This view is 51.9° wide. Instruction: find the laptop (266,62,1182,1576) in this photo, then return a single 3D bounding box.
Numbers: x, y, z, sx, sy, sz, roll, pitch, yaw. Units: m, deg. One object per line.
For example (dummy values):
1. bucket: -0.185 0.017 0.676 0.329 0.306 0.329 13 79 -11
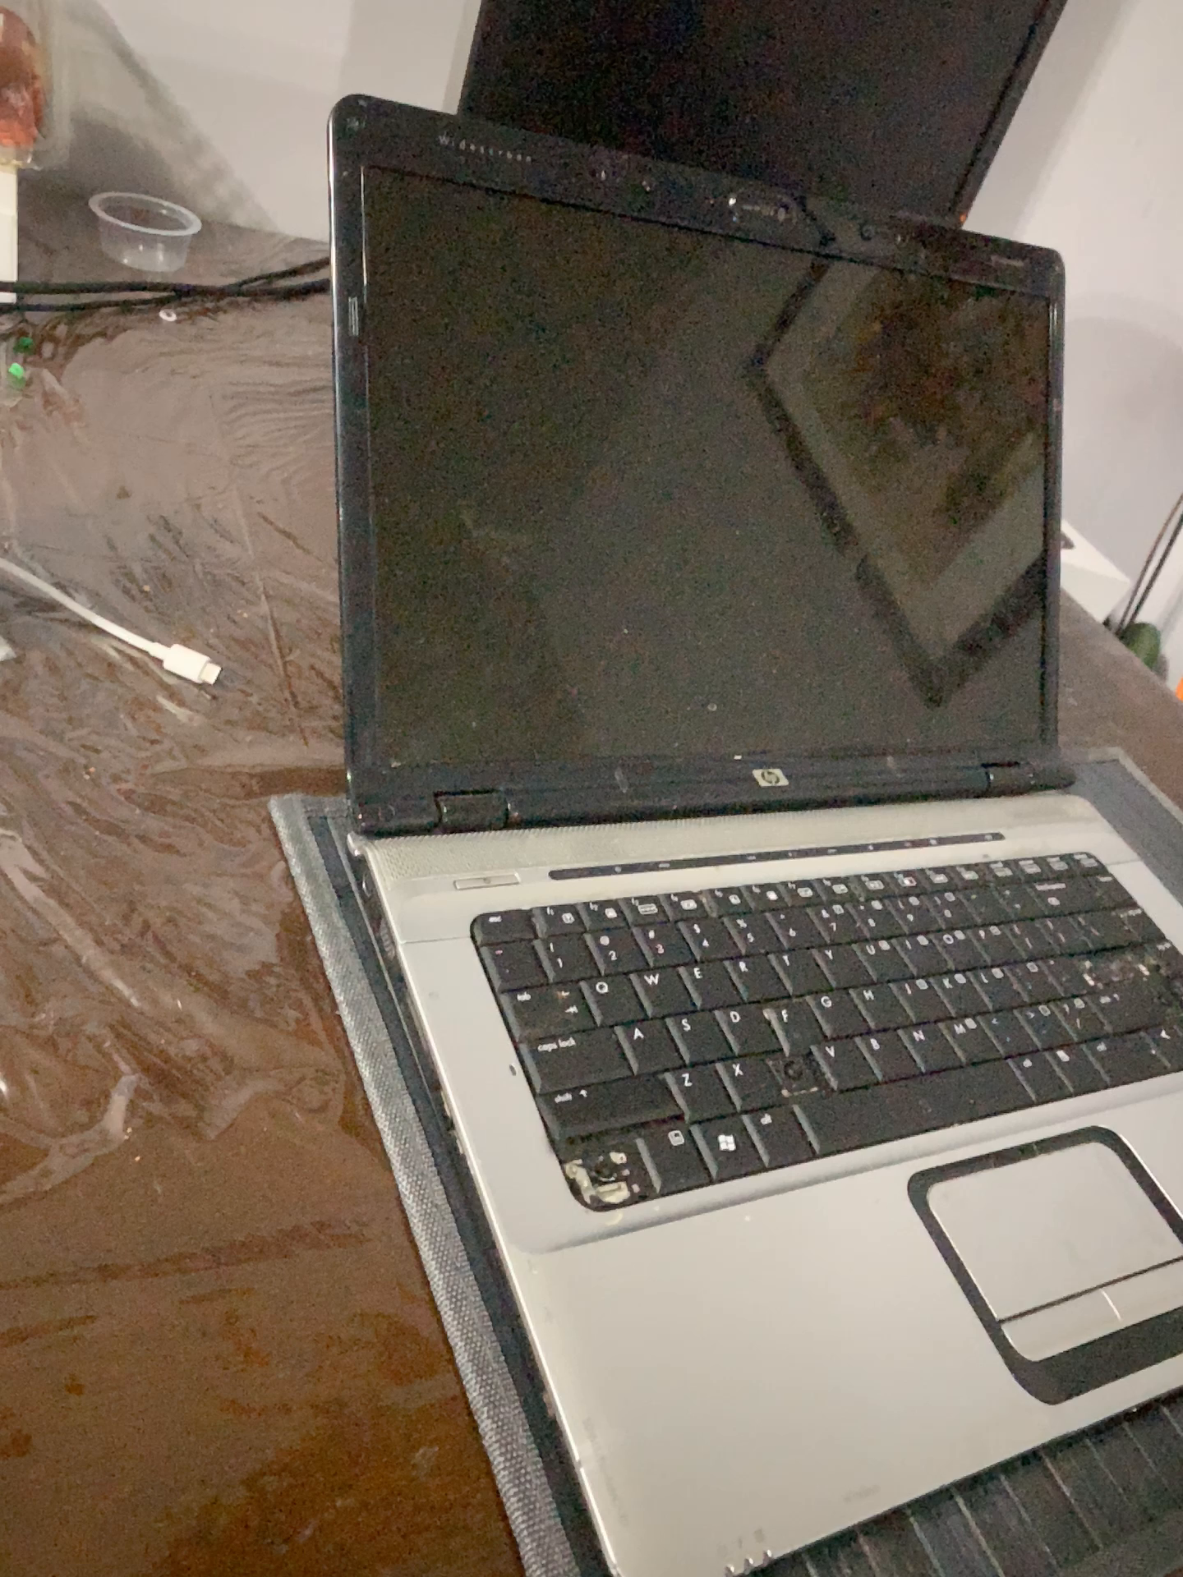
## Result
1. laptop: 0.116 -0.041 0.415 0.349 0.186 0.404 -3 45 -29
